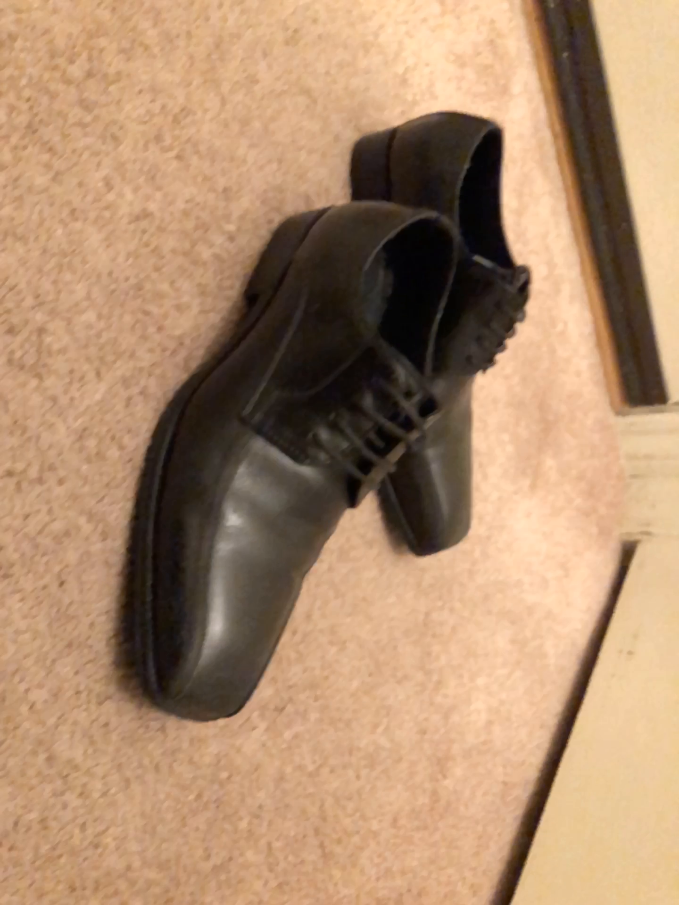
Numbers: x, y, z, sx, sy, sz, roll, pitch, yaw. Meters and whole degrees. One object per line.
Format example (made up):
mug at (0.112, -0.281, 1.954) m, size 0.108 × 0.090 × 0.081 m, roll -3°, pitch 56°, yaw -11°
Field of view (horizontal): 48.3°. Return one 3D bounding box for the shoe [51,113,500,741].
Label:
shoe at (-0.014, -0.019, 0.392) m, size 0.110 × 0.107 × 0.284 m, roll 43°, pitch 56°, yaw -44°

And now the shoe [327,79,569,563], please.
shoe at (0.082, -0.082, 0.545) m, size 0.116 × 0.110 × 0.297 m, roll -9°, pitch 96°, yaw -53°
